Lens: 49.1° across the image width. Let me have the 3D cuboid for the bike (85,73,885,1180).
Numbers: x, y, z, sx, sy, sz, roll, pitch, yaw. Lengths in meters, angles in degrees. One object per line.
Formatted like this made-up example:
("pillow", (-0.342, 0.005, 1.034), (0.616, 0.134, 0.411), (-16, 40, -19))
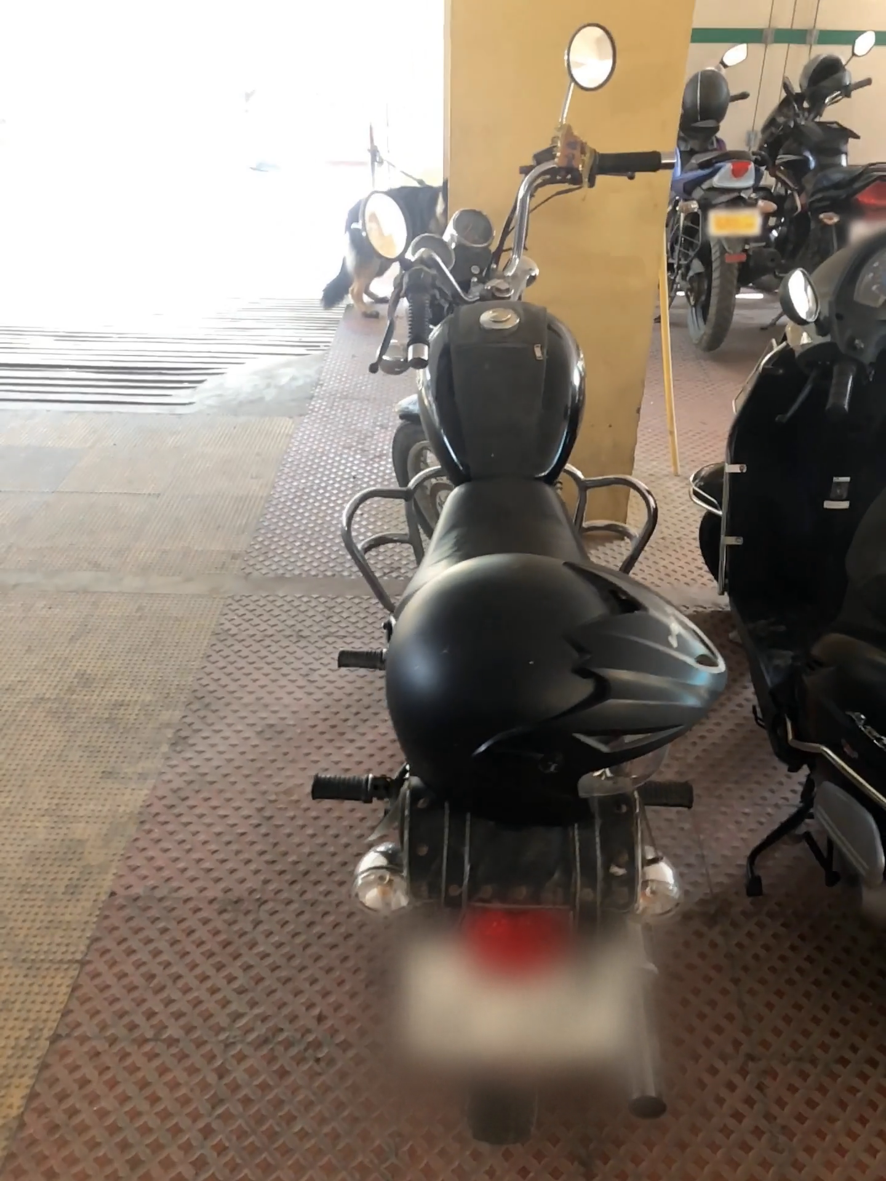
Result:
("bike", (-0.011, -0.168, 1.831), (0.783, 1.177, 1.820), (-3, 35, -5))
